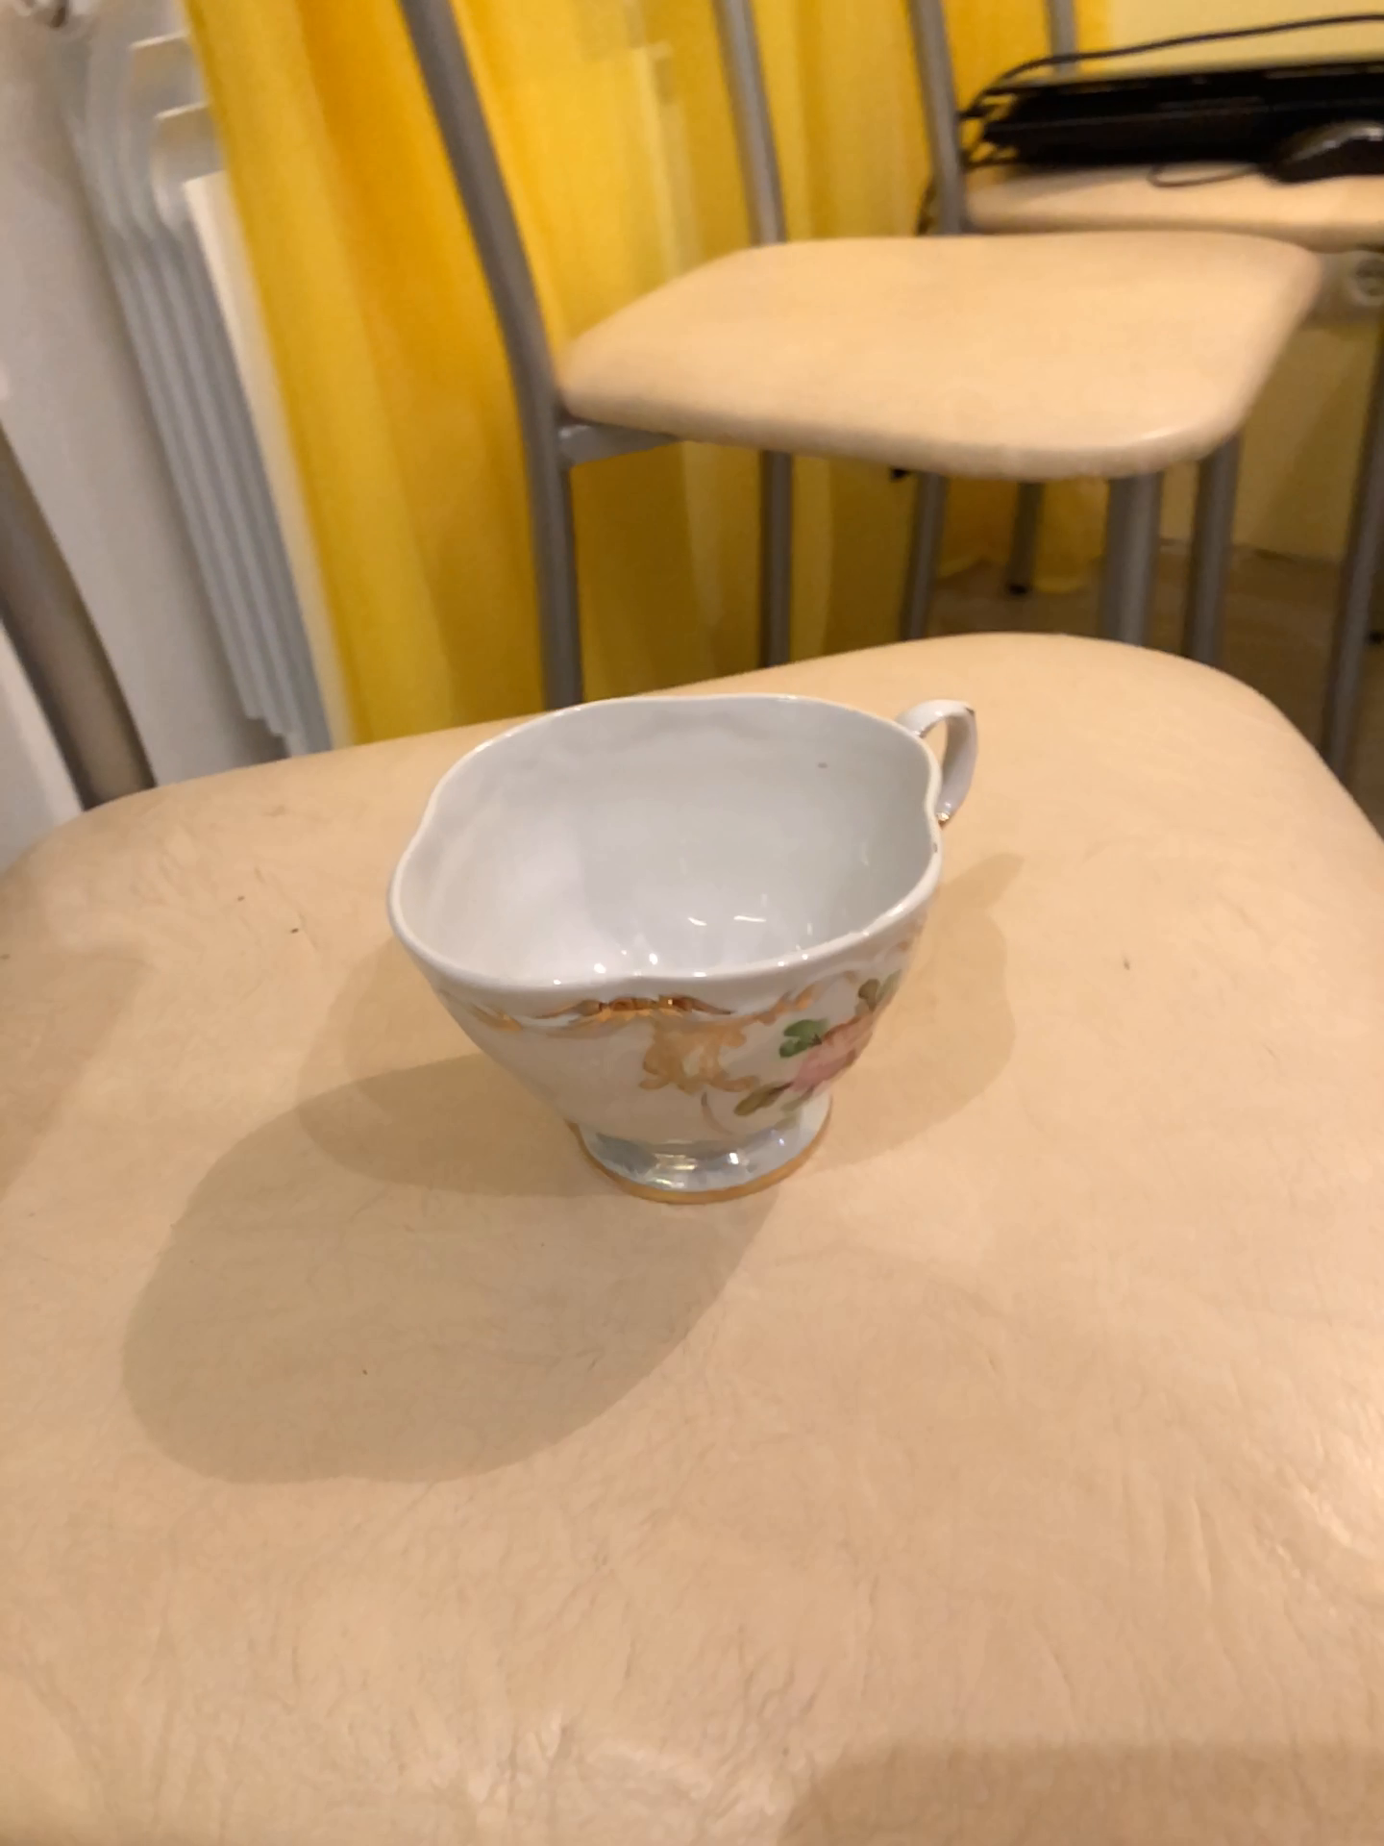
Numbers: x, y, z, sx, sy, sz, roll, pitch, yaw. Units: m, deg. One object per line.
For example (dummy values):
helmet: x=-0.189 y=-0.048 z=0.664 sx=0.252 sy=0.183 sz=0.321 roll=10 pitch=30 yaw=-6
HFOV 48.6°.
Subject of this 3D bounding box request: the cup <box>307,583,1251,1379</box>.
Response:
cup: x=0.018 y=-0.001 z=0.296 sx=0.140 sy=0.064 sz=0.101 roll=-27 pitch=39 yaw=-27
